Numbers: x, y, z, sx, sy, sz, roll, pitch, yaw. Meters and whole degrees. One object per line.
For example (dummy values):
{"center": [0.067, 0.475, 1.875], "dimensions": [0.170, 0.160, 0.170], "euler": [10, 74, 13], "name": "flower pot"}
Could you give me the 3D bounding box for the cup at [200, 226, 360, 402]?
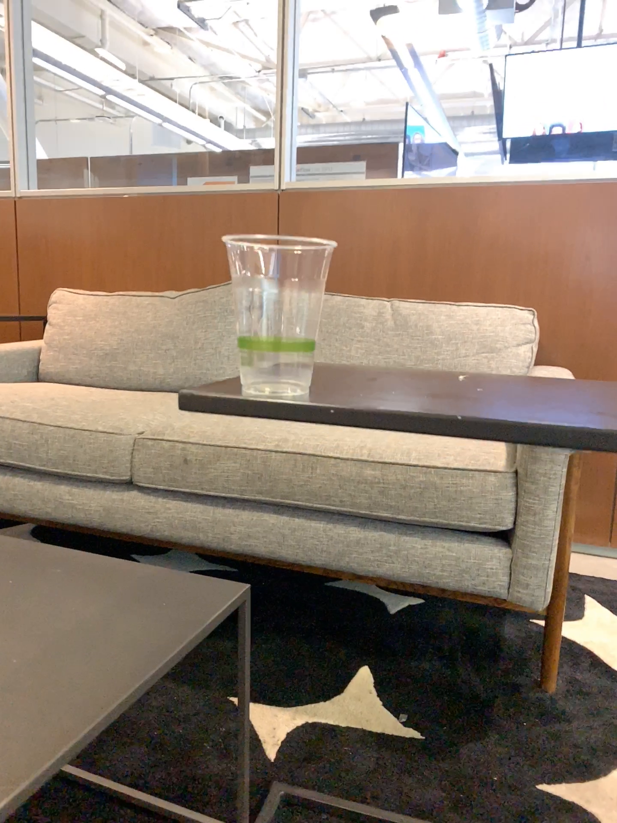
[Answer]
{"center": [-0.022, -0.083, 0.535], "dimensions": [0.100, 0.130, 0.100], "euler": [2, 9, 0], "name": "cup"}
